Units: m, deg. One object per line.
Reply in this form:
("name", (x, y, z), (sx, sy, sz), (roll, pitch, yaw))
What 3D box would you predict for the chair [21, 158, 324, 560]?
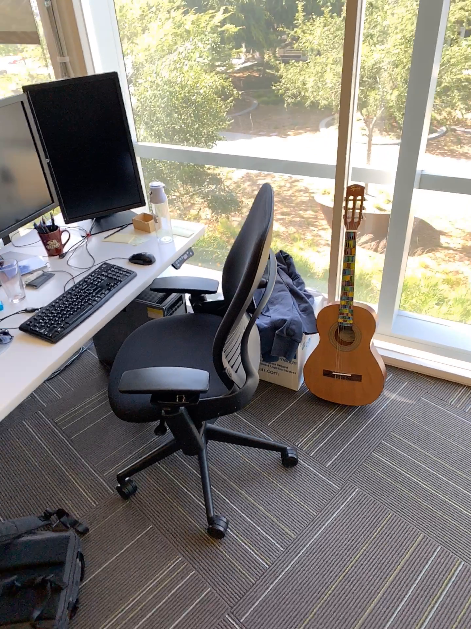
("chair", (-0.122, 0.185, 1.733), (0.690, 1.222, 0.715), (-4, 35, 0))
